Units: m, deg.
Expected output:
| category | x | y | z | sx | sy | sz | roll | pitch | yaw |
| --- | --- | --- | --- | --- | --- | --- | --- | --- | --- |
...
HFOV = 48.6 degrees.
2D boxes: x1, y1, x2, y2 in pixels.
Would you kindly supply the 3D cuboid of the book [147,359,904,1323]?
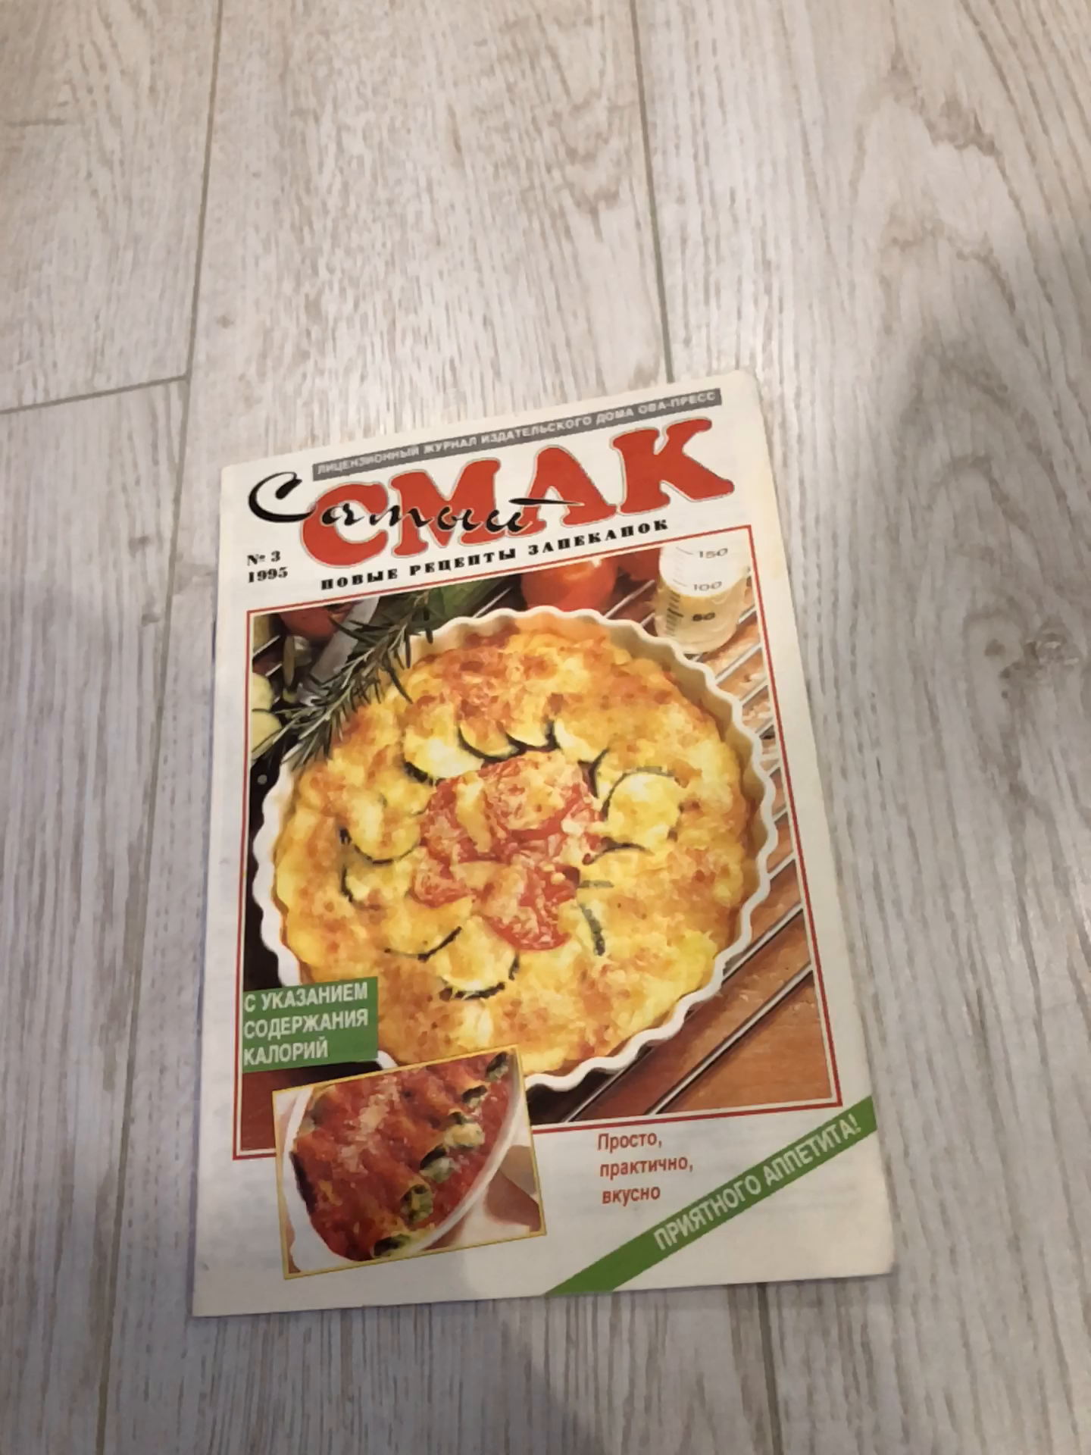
| category | x | y | z | sx | sy | sz | roll | pitch | yaw |
| --- | --- | --- | --- | --- | --- | --- | --- | --- | --- |
| book | -0.014 | 0.020 | 0.309 | 0.165 | 0.020 | 0.230 | -8 | 67 | 10 |
